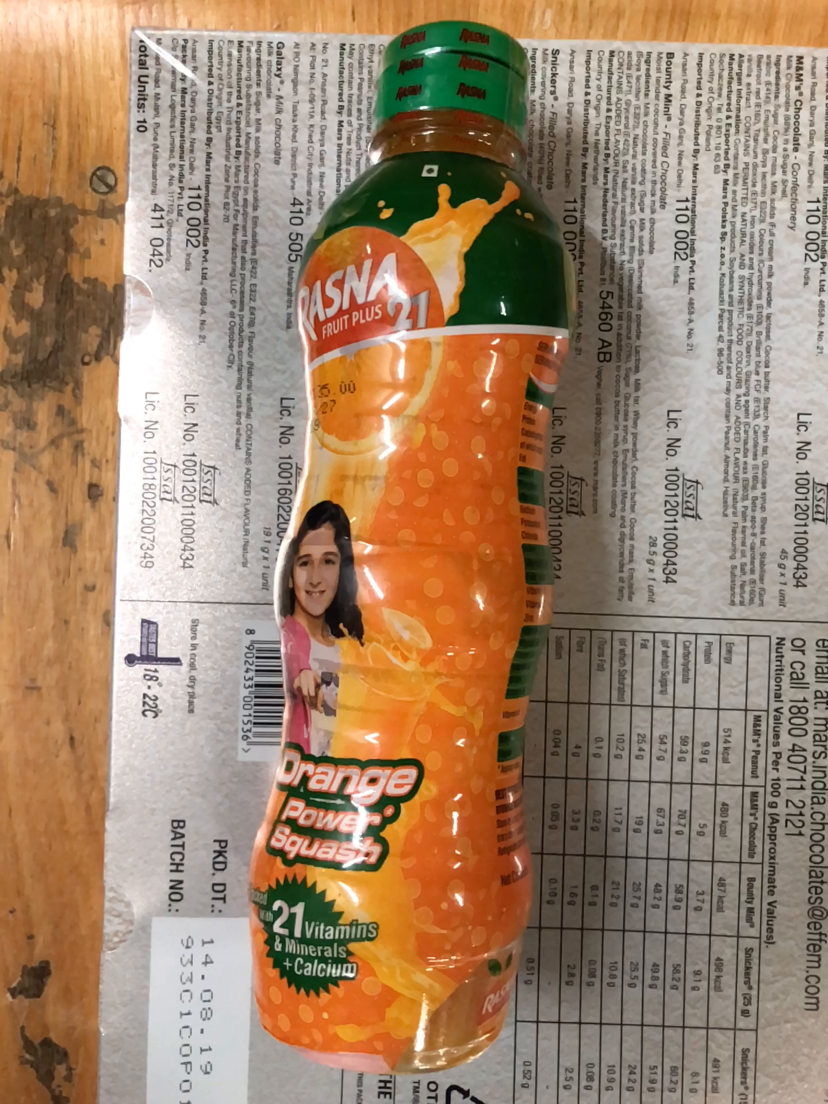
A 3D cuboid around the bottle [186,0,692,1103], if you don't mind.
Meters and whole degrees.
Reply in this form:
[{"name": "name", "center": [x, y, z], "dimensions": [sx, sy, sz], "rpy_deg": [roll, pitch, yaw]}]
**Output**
[{"name": "bottle", "center": [0.004, -0.009, 0.230], "dimensions": [0.080, 0.070, 0.250], "rpy_deg": [4, 92, -36]}]
